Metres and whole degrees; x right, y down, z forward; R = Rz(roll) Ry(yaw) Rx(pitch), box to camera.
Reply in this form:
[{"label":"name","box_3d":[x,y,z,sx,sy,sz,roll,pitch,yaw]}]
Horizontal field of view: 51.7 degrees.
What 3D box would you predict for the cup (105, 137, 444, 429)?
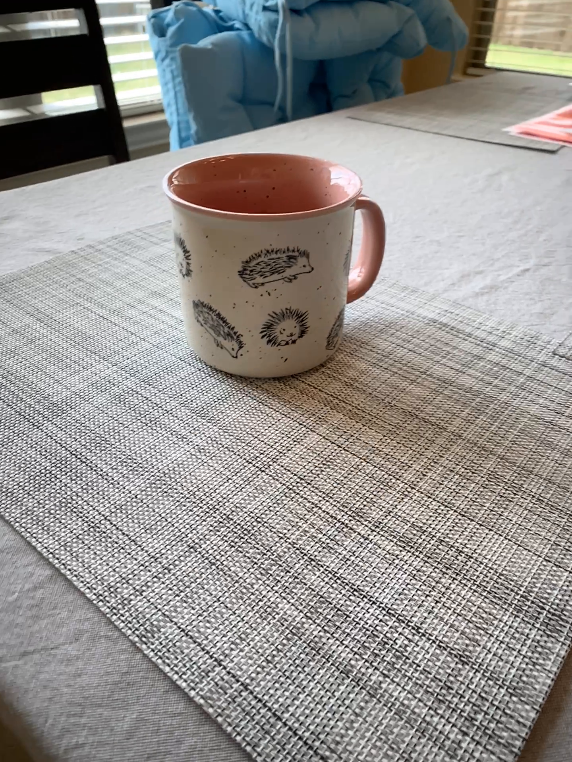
[{"label":"cup","box_3d":[-0.006,-0.073,0.366,0.150,0.106,0.121,-27,44,-34]}]
